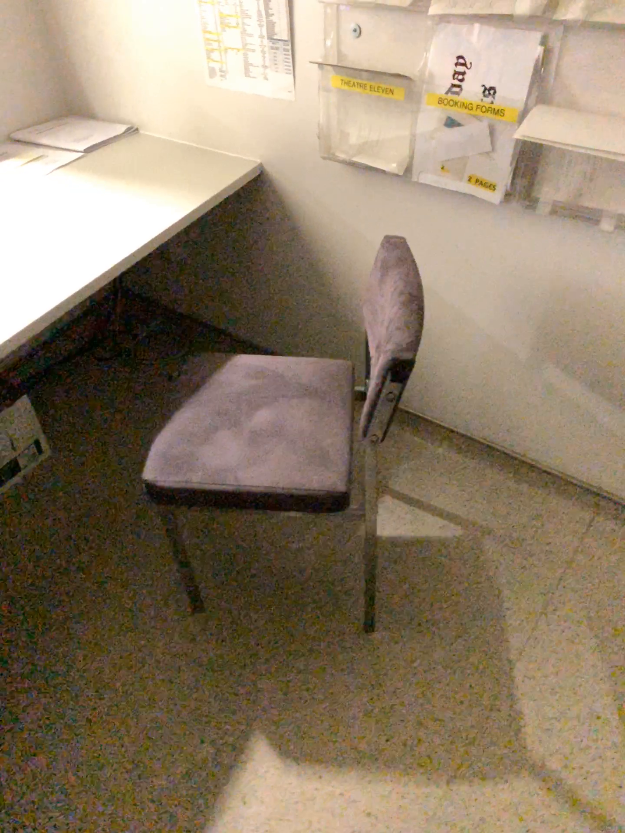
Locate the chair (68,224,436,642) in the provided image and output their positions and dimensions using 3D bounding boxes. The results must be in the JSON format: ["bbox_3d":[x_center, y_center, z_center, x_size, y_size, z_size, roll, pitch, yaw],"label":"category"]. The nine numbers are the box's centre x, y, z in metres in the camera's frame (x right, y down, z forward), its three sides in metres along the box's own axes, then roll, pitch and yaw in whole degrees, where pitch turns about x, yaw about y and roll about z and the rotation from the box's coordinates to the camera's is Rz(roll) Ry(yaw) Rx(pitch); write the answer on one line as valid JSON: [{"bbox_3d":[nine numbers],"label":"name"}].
[{"bbox_3d":[-0.055,0.025,1.360,0.550,0.663,0.576,2,40,6],"label":"chair"}]
